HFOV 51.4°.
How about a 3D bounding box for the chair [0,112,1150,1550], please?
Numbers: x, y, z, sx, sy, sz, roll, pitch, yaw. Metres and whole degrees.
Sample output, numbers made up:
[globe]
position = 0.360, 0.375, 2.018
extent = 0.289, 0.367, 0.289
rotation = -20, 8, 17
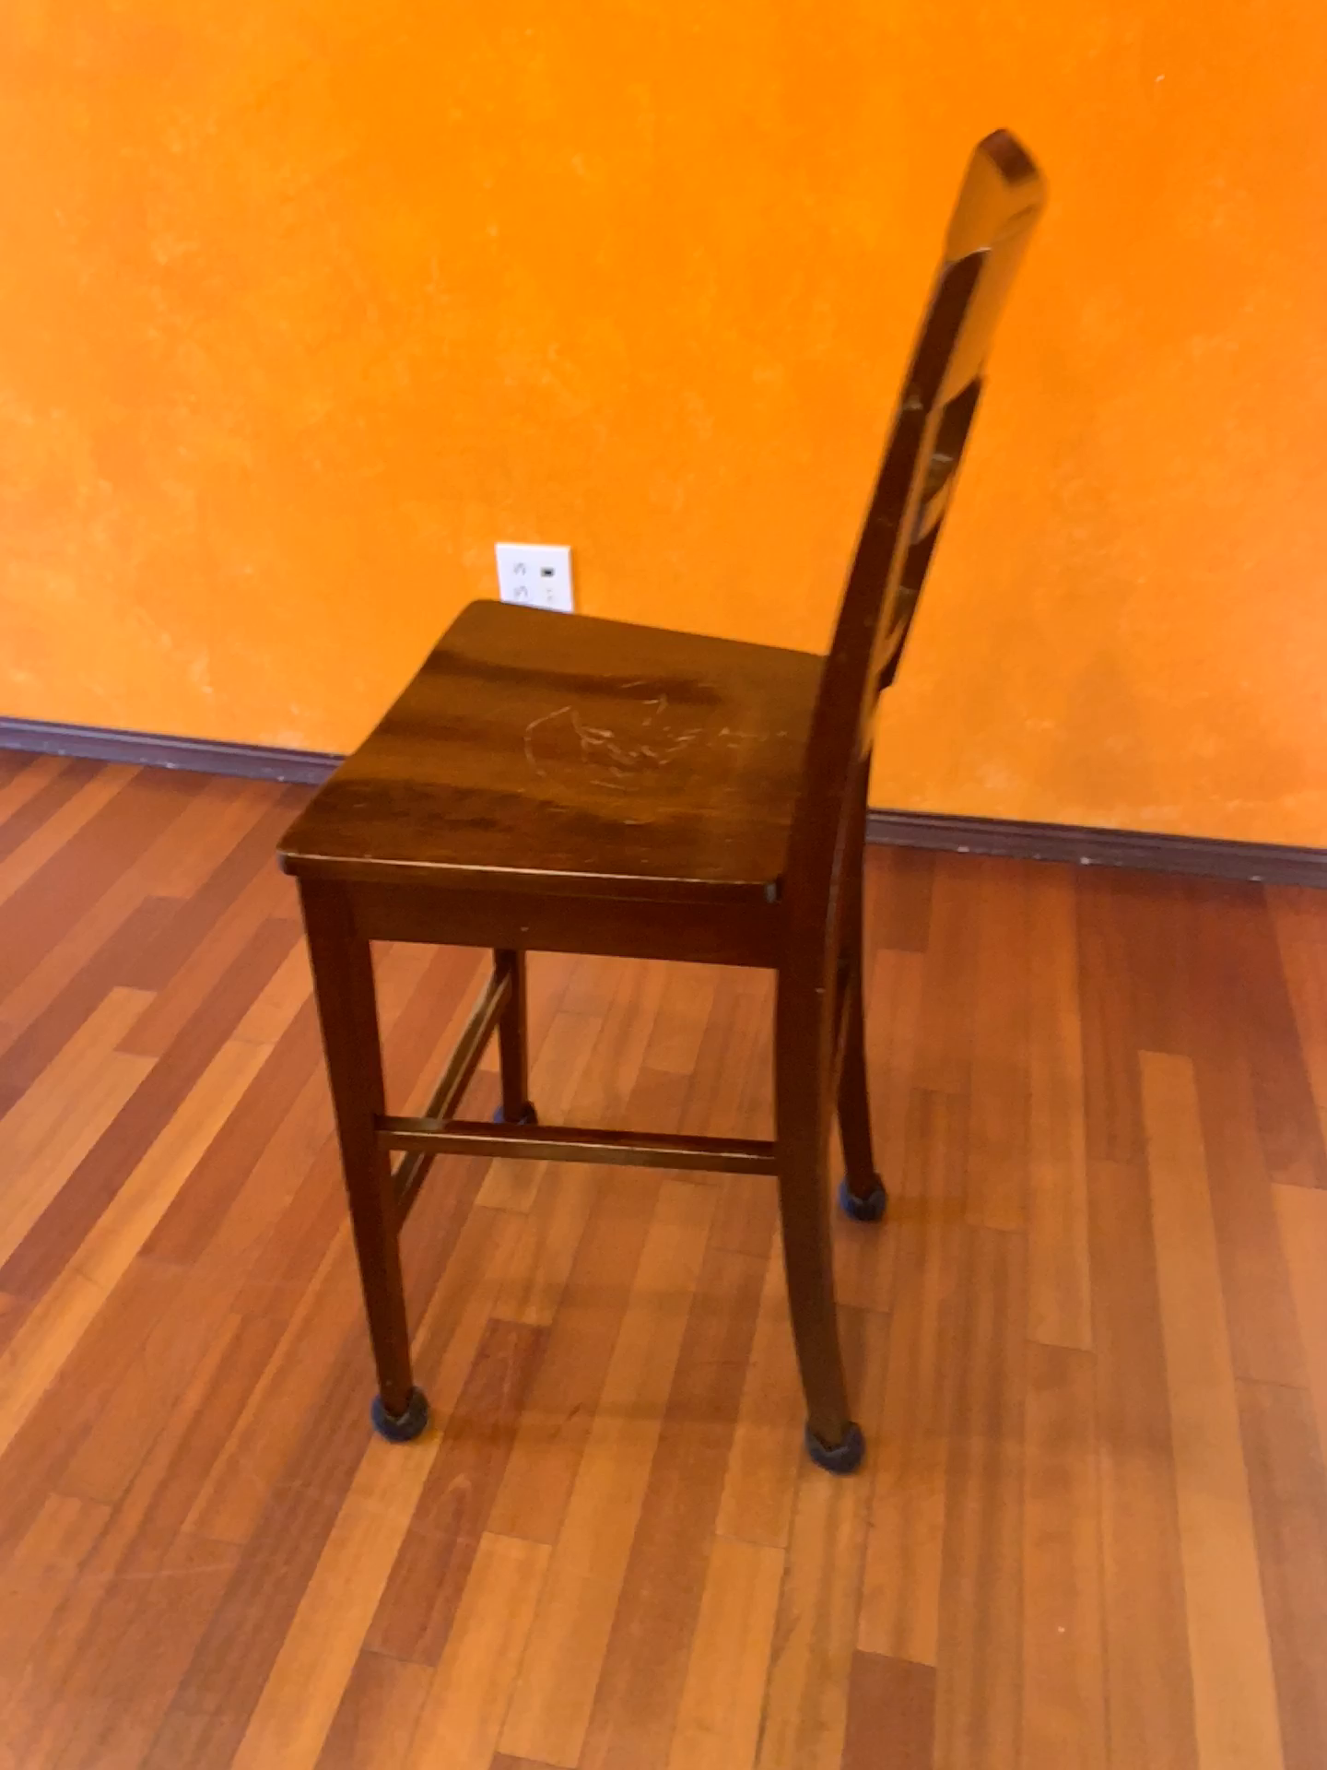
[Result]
[chair]
position = -0.024, -0.040, 1.127
extent = 0.592, 0.986, 0.535
rotation = 7, 35, 11
